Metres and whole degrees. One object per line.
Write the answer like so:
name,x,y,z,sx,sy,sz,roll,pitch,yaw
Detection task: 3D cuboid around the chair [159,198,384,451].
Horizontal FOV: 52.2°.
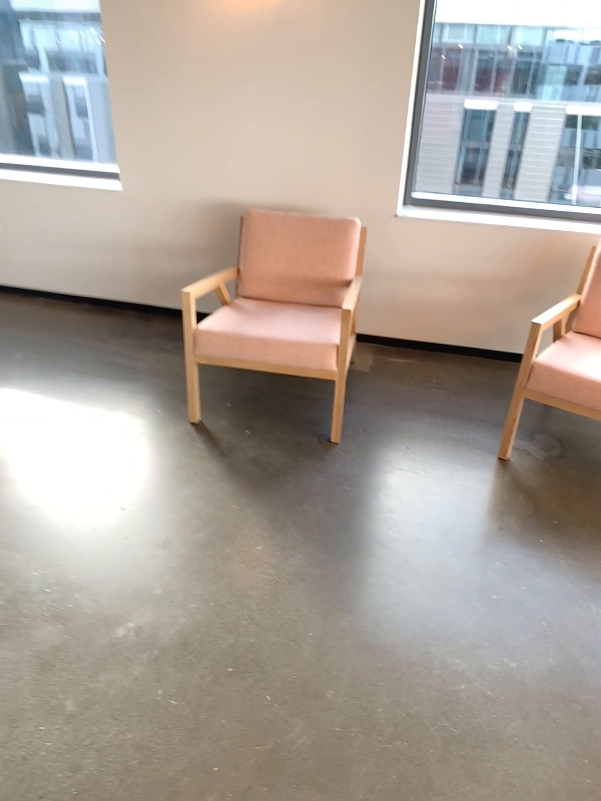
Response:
chair,-0.084,-0.380,2.739,0.741,0.795,0.774,8,32,11

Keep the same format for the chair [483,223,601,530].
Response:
chair,1.283,-0.162,2.404,0.742,0.795,0.772,21,34,28
